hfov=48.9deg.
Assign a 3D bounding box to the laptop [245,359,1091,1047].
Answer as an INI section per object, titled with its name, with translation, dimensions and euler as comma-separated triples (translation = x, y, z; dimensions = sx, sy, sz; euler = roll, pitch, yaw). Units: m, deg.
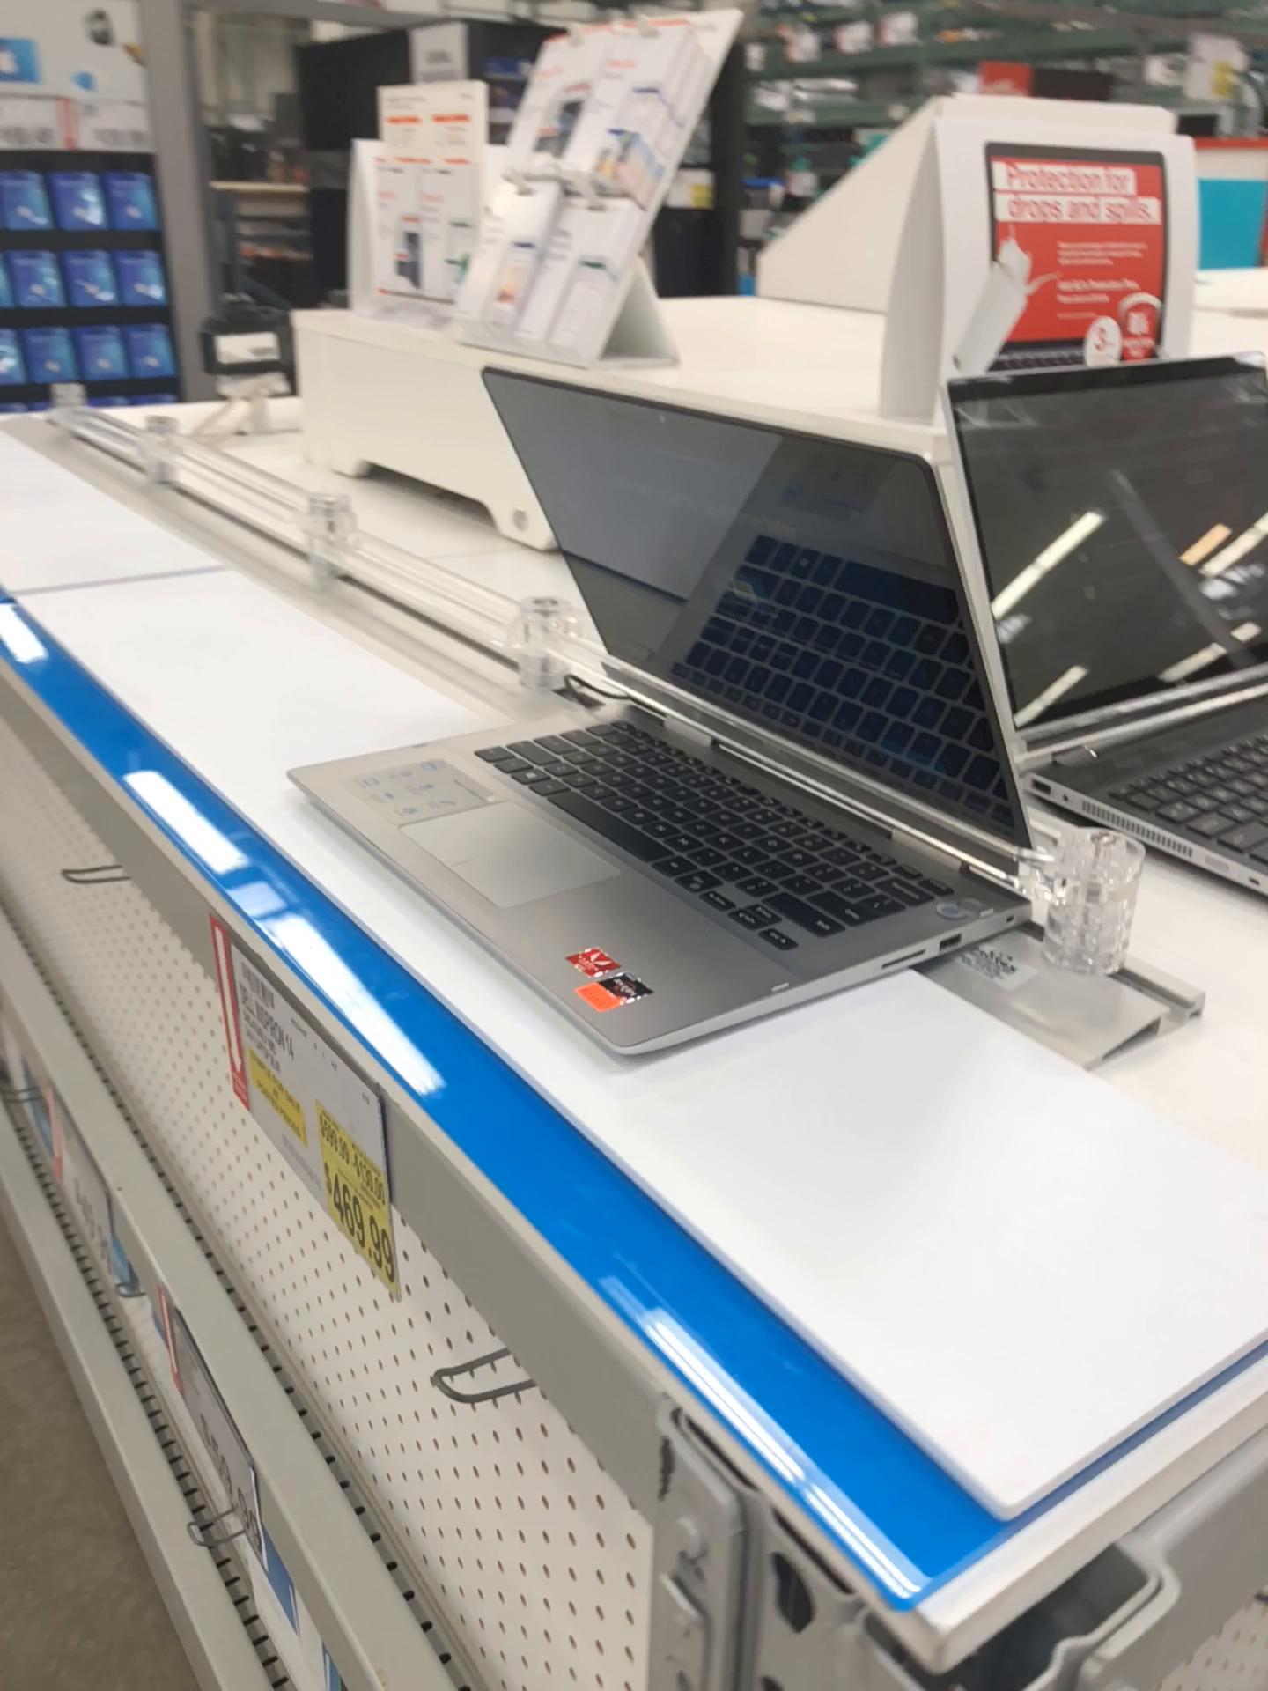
[laptop]
translation = -0.005, -0.100, 0.642
dimensions = 0.222, 0.199, 0.320
euler = -15, 29, -32
